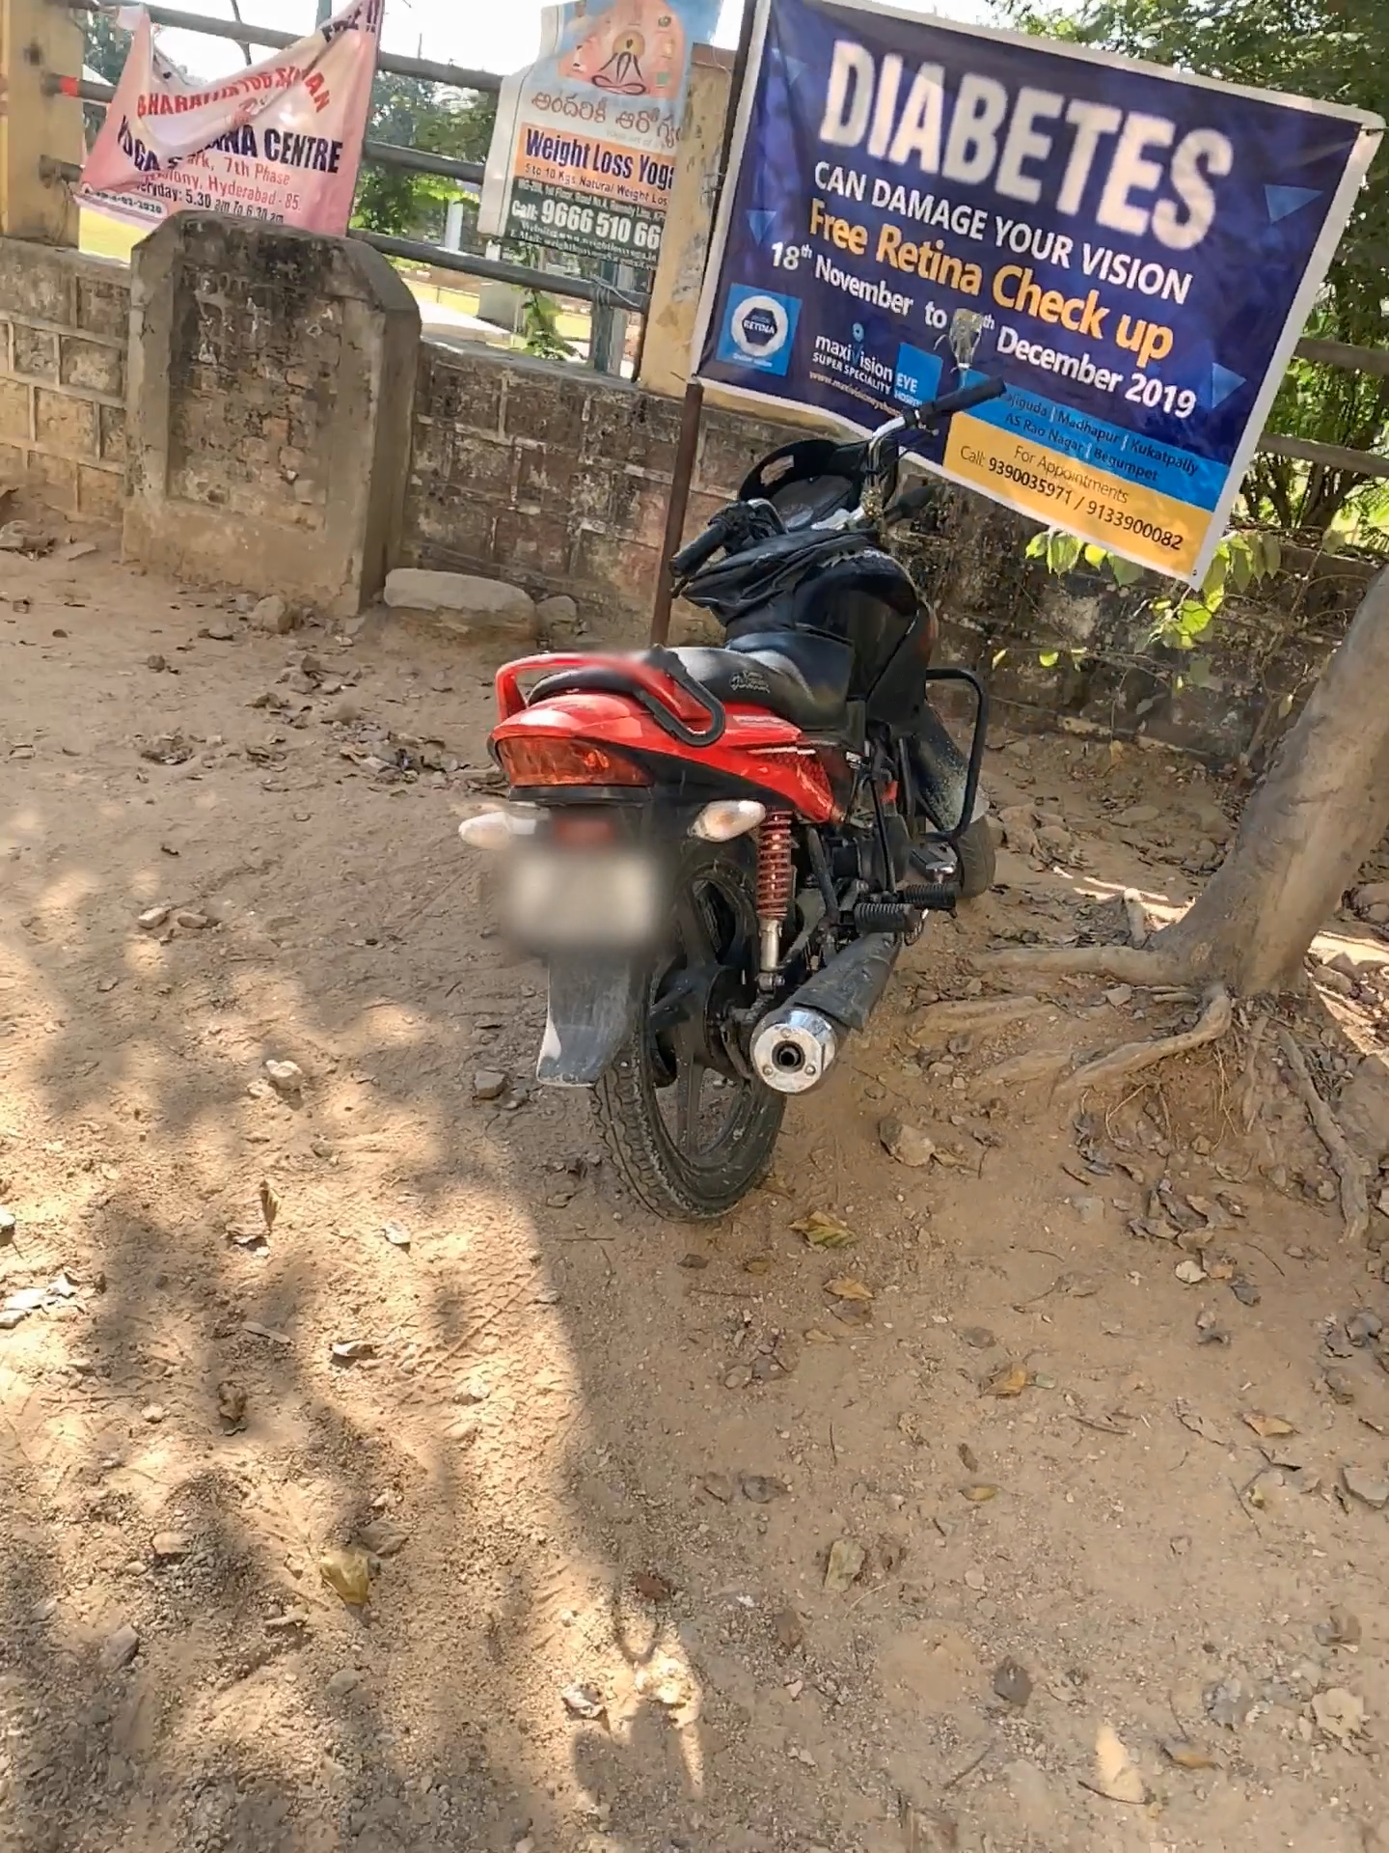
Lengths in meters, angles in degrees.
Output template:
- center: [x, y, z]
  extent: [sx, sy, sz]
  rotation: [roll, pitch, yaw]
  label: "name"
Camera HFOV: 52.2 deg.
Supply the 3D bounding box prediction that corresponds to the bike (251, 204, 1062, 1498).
- center: [0.028, -0.355, 2.442]
  extent: [0.752, 1.442, 1.623]
  rotation: [16, 28, 9]
  label: "bike"
